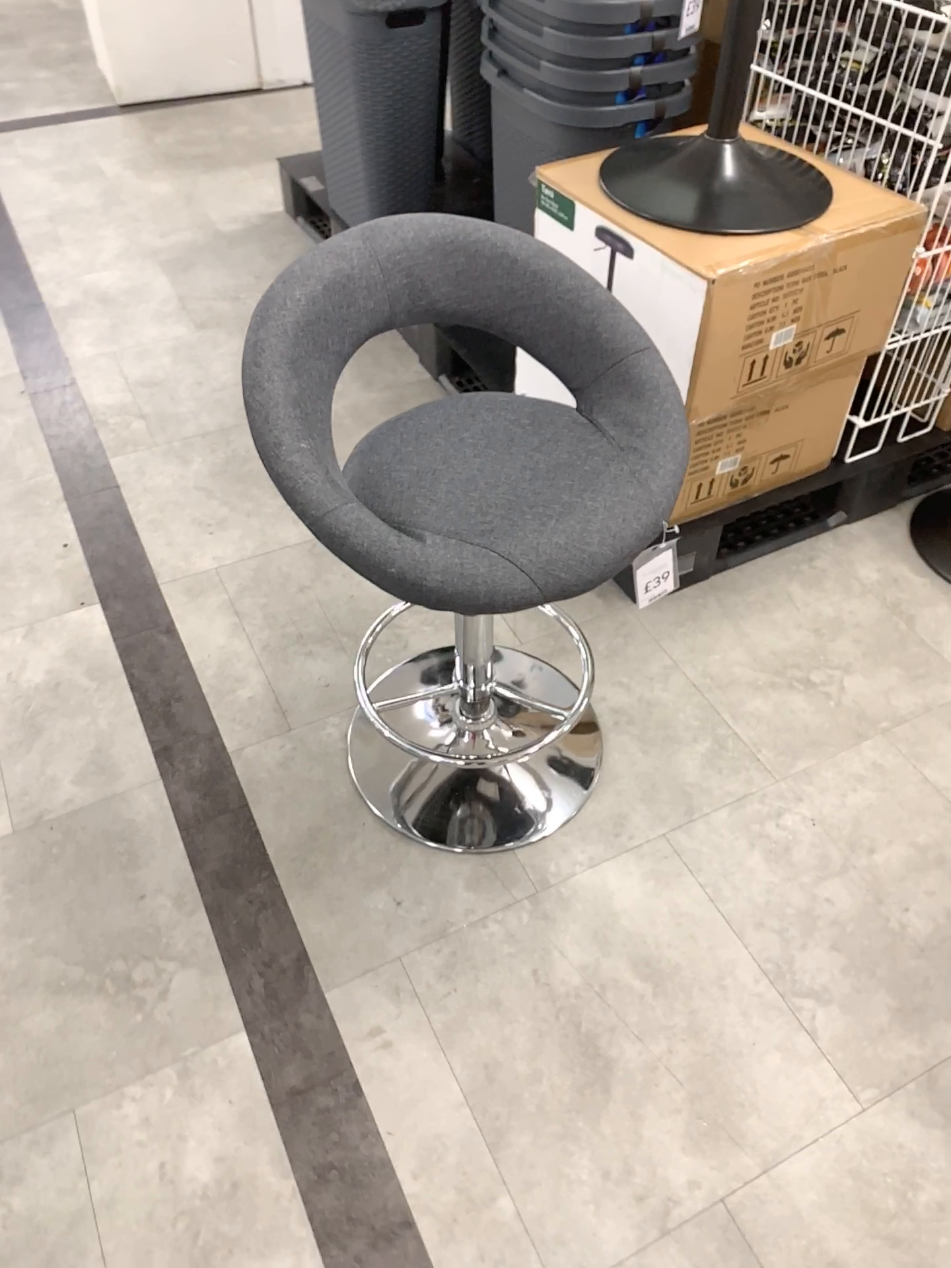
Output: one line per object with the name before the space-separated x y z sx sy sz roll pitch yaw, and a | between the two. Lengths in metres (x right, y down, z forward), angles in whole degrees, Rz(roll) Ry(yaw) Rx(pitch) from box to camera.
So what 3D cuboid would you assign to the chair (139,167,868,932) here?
chair | 0.008 -0.134 1.321 0.574 0.664 0.596 -27 52 -24
